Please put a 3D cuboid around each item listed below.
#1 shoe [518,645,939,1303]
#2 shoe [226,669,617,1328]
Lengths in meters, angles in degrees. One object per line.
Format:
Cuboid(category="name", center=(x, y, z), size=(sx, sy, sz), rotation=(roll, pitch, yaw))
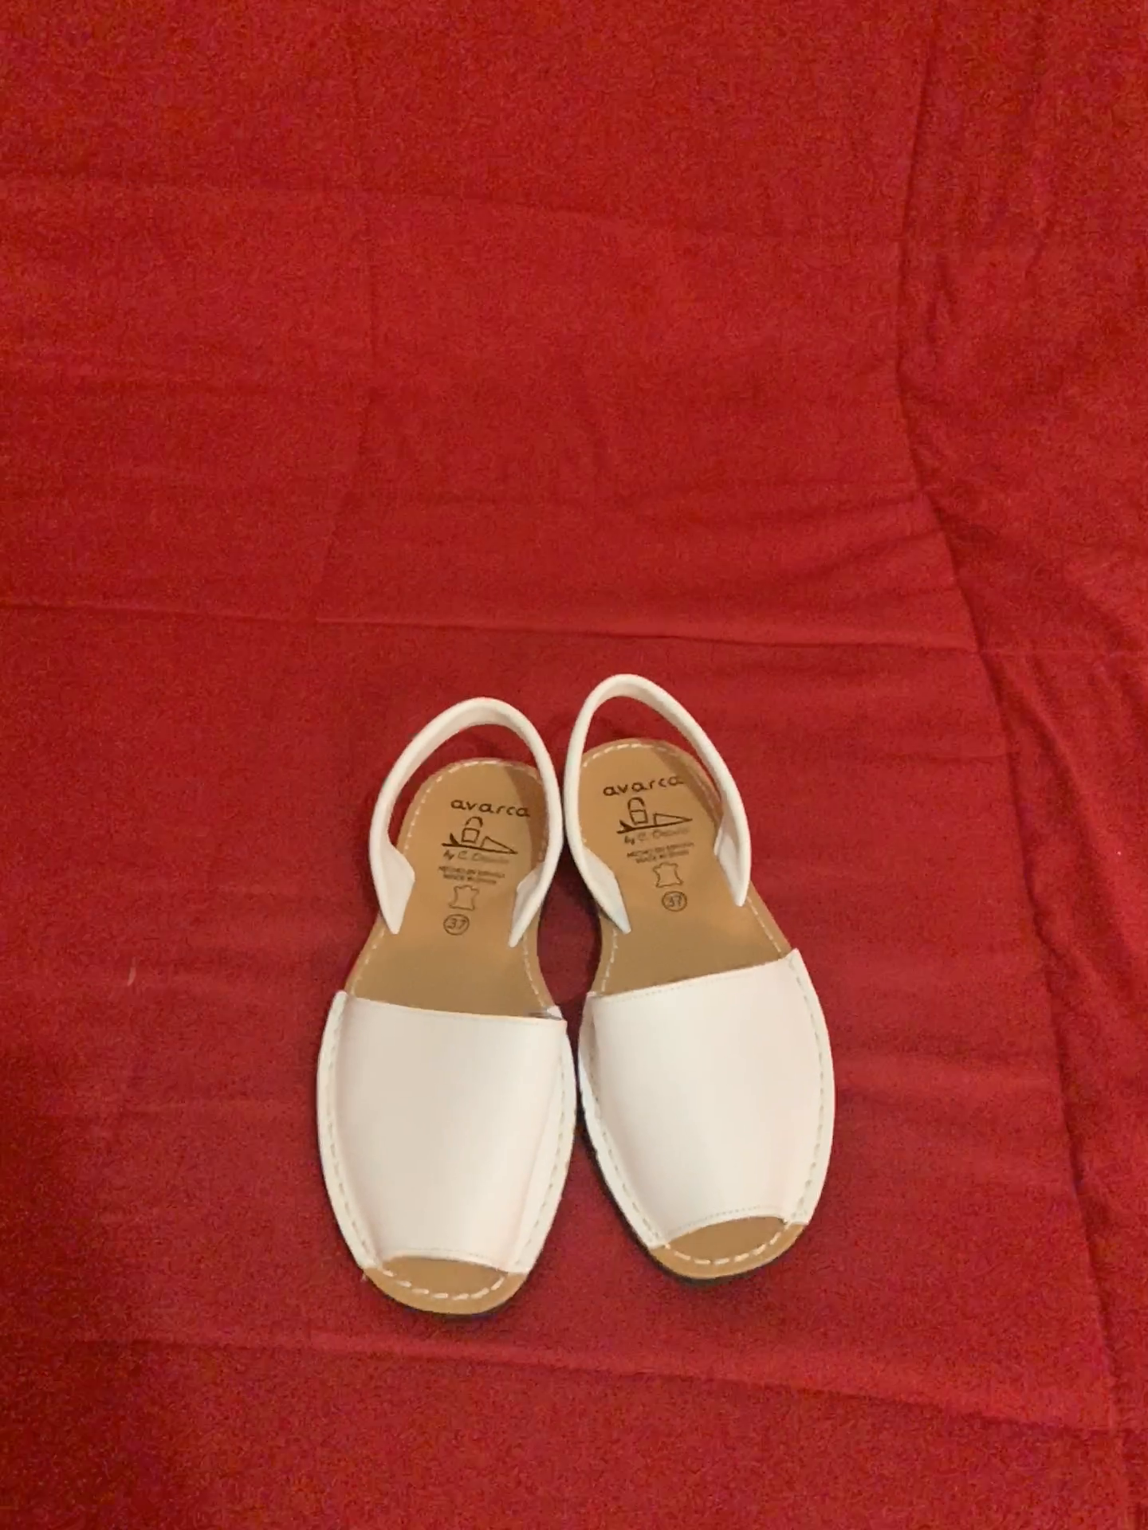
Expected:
Cuboid(category="shoe", center=(0.045, 0.067, 0.470), size=(0.103, 0.063, 0.250), rotation=(-7, 50, -6))
Cuboid(category="shoe", center=(-0.044, 0.075, 0.462), size=(0.108, 0.063, 0.249), rotation=(3, 50, 3))
